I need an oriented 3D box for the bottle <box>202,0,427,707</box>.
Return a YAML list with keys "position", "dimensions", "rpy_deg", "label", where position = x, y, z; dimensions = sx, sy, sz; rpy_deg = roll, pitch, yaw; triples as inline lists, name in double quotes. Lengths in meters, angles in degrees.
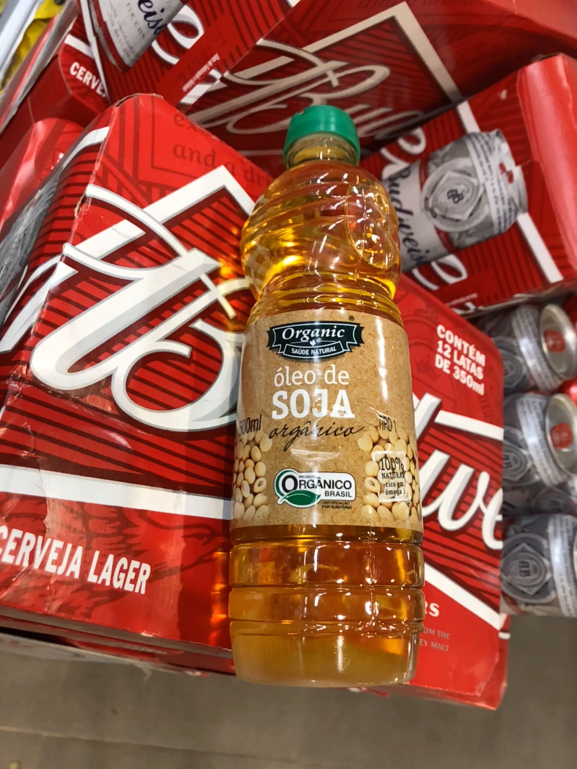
- position: [0.014, -0.020, 0.238]
  dimensions: [0.060, 0.060, 0.240]
  rpy_deg: [55, 34, -68]
  label: "bottle"
